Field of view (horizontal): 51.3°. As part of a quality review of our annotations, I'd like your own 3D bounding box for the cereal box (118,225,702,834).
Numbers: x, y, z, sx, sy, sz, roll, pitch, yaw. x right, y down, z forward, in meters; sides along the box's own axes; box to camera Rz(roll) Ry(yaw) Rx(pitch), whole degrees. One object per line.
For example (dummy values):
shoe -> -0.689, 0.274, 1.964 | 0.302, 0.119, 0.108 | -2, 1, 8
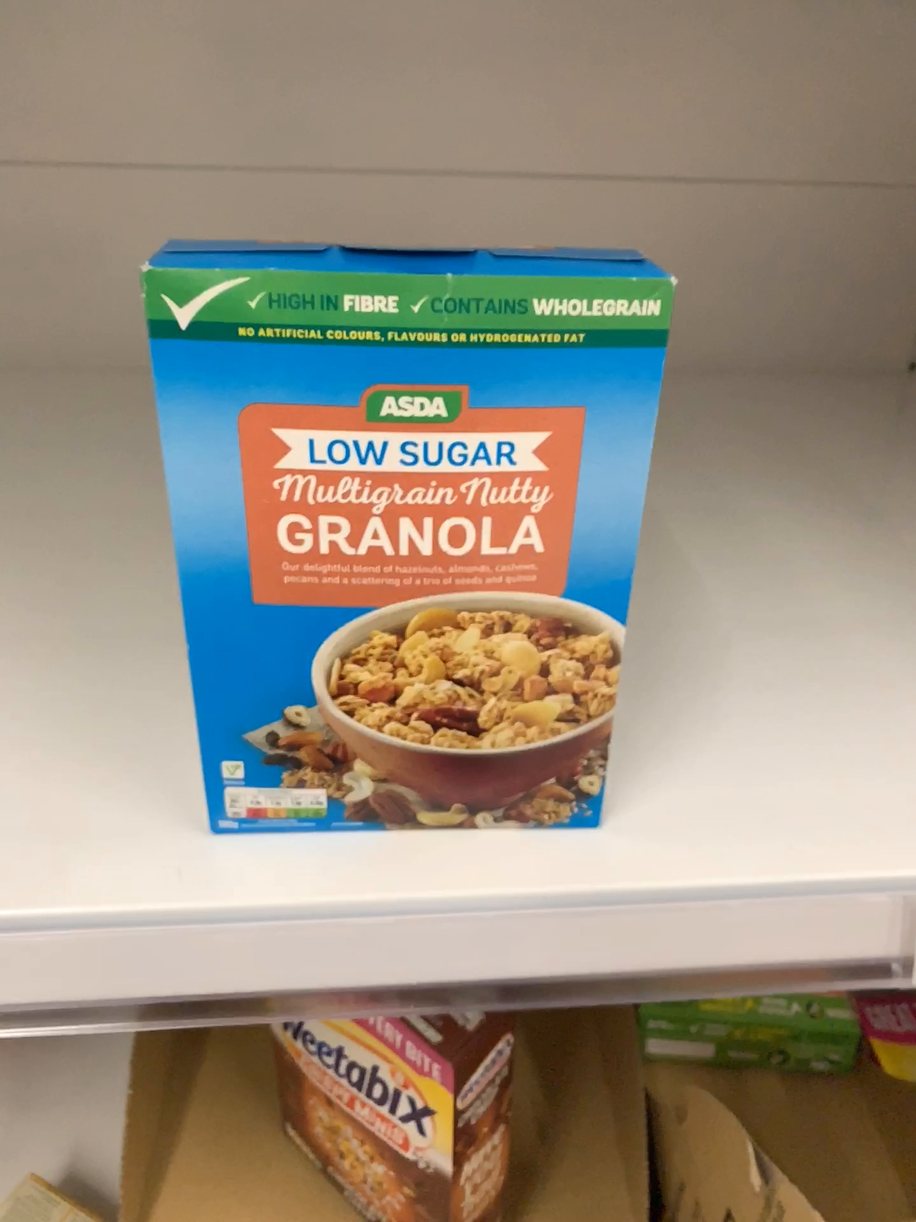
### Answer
cereal box -> -0.020, -0.022, 0.399 | 0.190, 0.248, 0.061 | 0, 31, -4
